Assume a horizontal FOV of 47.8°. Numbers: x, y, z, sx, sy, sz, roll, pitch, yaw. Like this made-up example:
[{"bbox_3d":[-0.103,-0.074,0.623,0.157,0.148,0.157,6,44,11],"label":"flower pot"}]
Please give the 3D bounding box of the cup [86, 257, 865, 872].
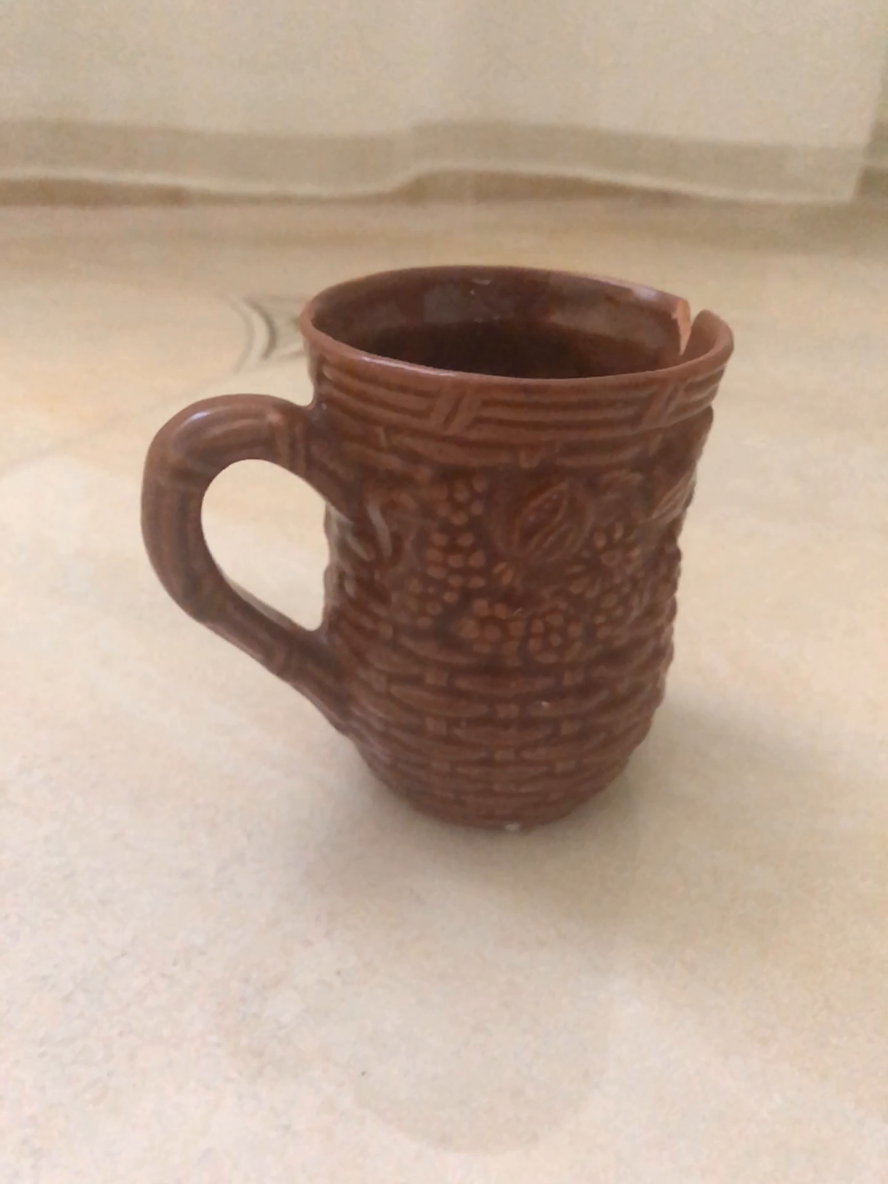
[{"bbox_3d":[0.000,-0.011,0.183,0.104,0.081,0.073,-4,31,-9],"label":"cup"}]
